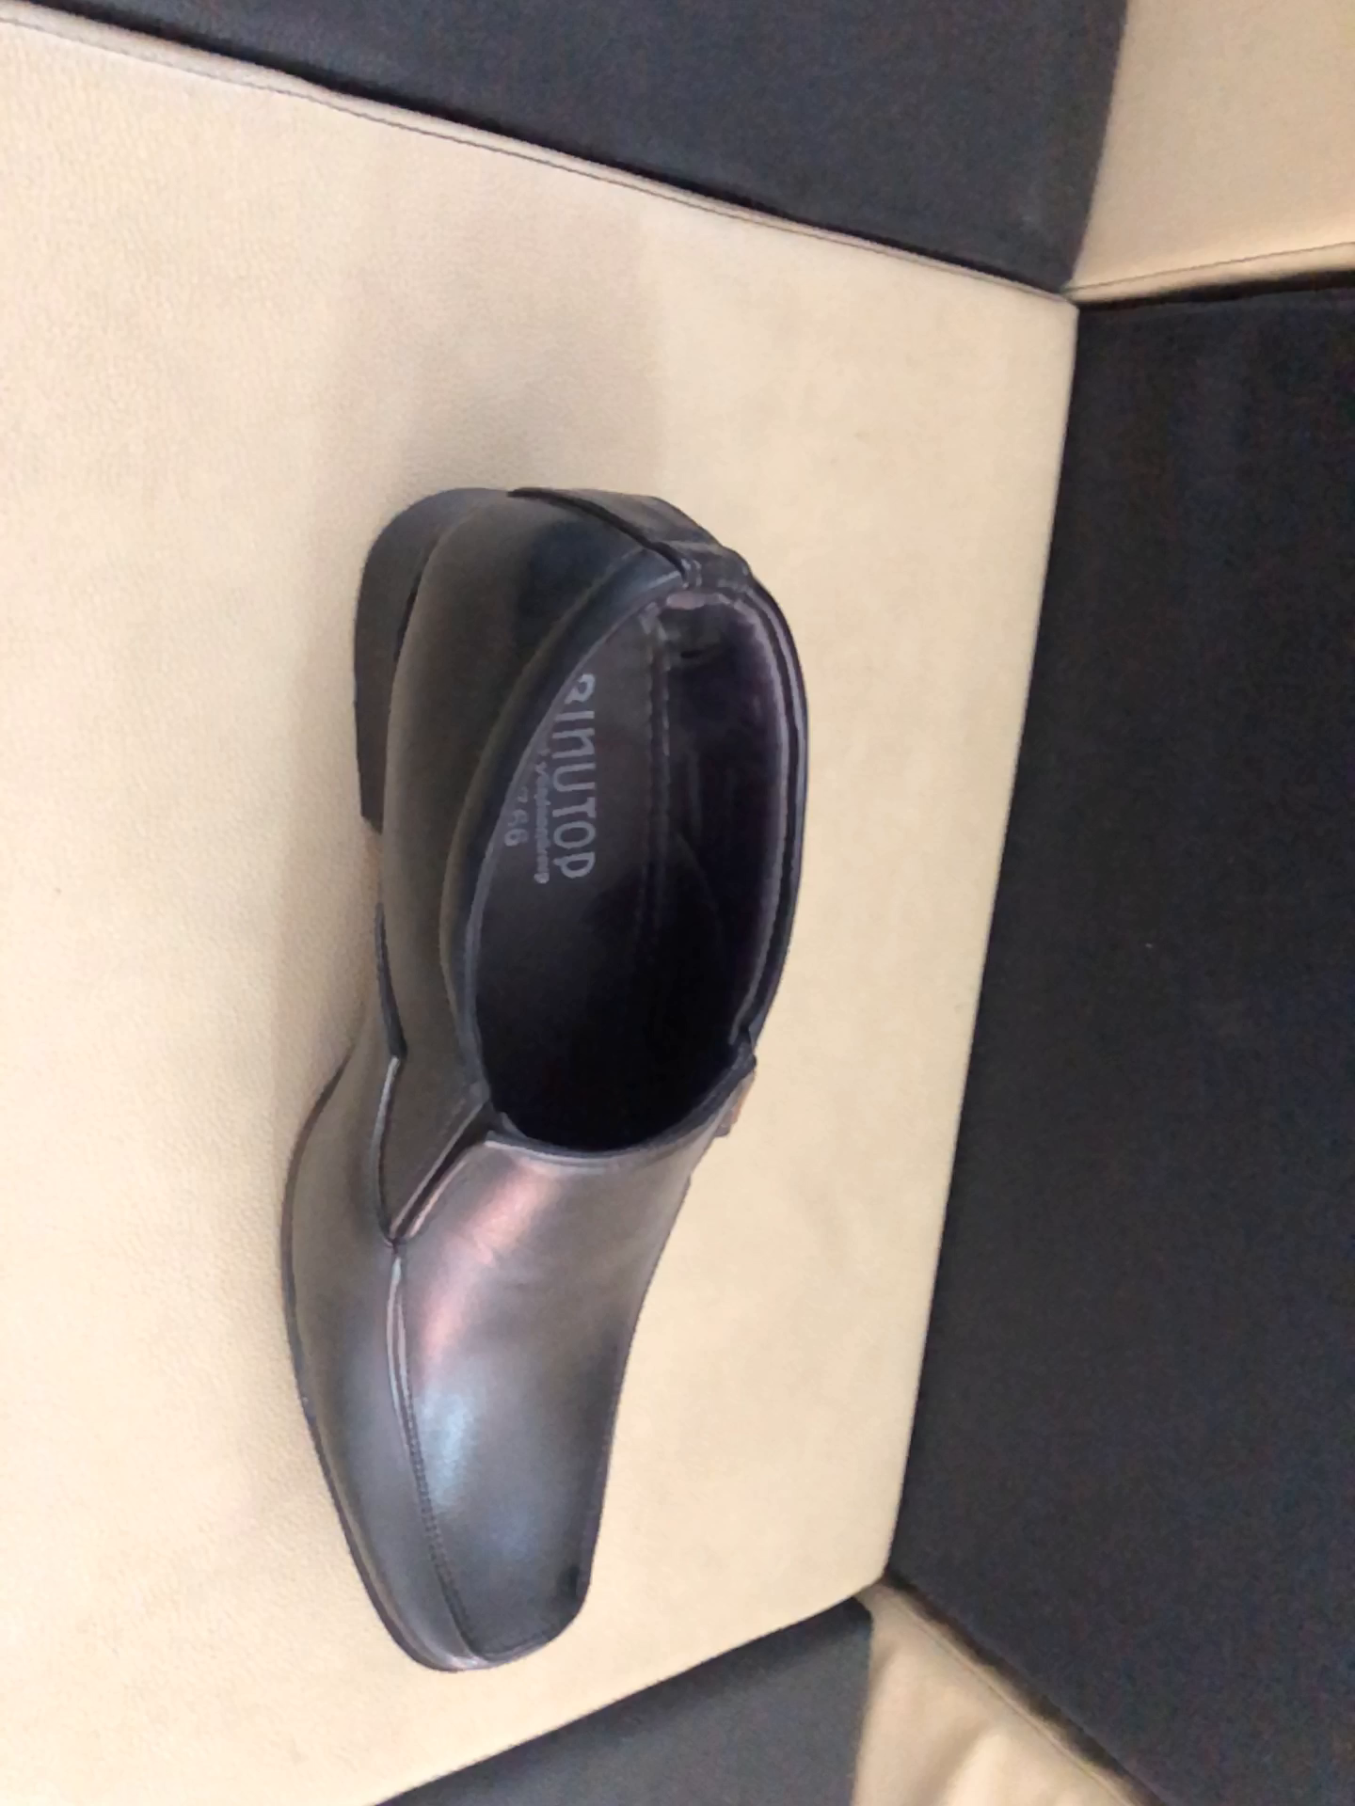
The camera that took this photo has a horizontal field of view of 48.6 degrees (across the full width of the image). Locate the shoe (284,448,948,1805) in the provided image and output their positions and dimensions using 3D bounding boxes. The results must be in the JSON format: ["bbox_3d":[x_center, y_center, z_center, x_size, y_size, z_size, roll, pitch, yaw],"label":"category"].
[{"bbox_3d":[-0.023,0.053,0.344,0.101,0.089,0.290,-4,105,-35],"label":"shoe"}]
